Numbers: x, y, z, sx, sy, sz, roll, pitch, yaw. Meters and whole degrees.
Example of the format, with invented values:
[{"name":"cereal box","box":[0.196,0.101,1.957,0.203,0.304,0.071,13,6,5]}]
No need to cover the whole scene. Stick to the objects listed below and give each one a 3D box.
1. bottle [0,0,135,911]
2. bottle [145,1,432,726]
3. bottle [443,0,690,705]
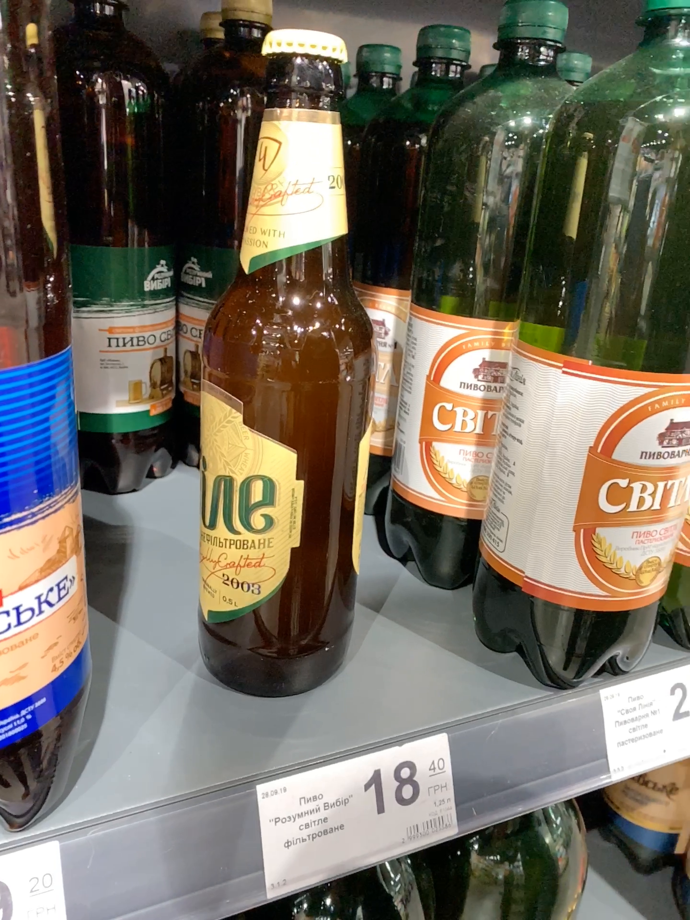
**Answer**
[{"name":"bottle","box":[-0.113,-0.028,0.192,0.084,0.283,0.070,-9,25,-31]},{"name":"bottle","box":[-0.029,-0.027,0.285,0.070,0.248,0.068,4,21,-1]},{"name":"bottle","box":[0.111,-0.044,0.294,0.084,0.277,0.070,-5,23,-23]}]
